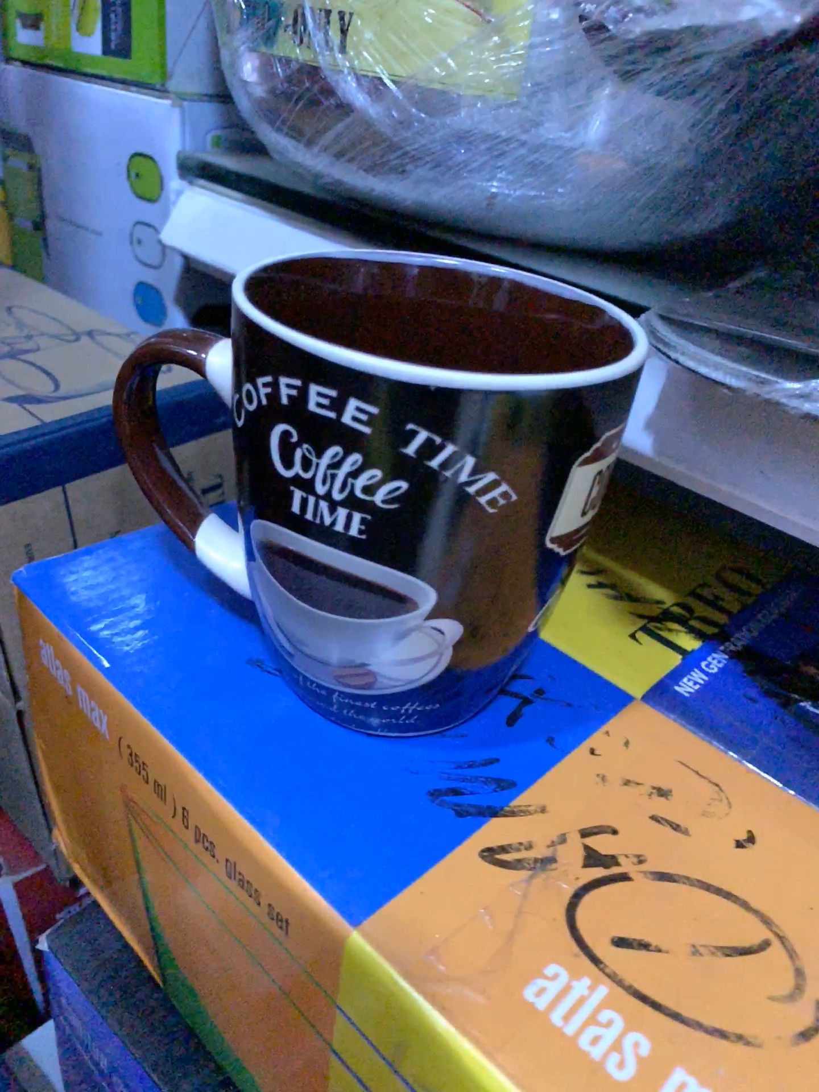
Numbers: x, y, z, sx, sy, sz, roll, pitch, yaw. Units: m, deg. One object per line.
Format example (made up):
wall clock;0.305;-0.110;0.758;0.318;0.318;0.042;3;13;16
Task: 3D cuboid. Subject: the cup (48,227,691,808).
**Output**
cup;-0.009;-0.015;0.194;0.110;0.079;0.070;20;33;20
